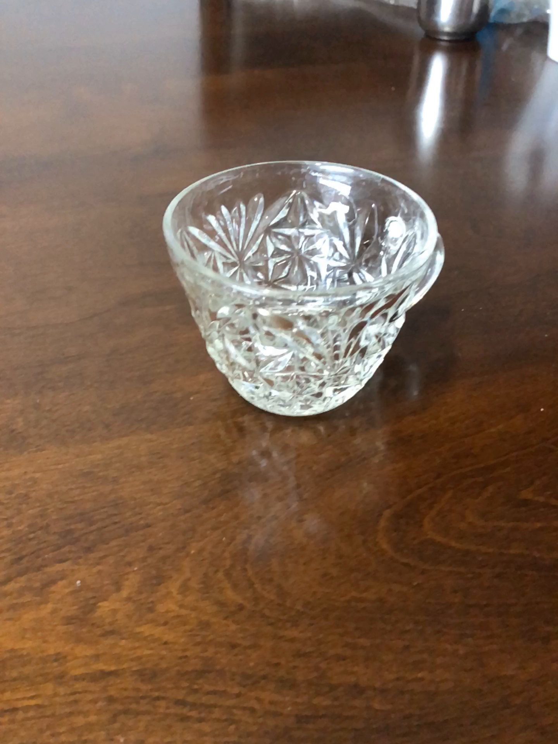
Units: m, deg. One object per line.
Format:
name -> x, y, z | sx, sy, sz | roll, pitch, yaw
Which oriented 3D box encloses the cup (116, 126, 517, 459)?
cup -> 0.010, -0.032, 0.210 | 0.100, 0.060, 0.070 | -19, 44, -19
